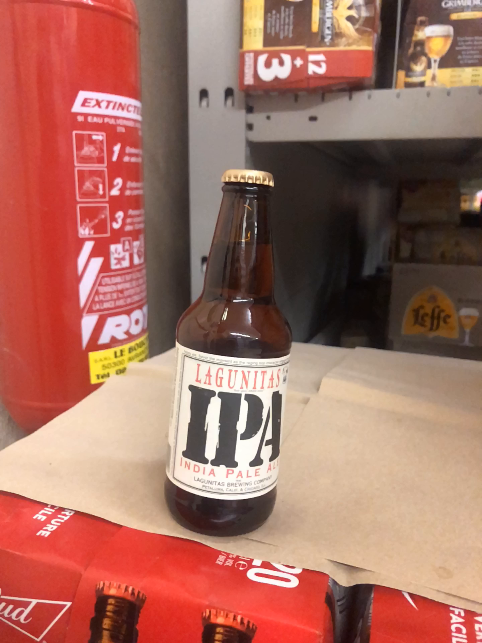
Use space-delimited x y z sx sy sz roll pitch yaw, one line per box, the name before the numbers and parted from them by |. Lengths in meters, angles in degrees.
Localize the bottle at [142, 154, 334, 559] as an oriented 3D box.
bottle | -0.011 0.017 0.300 0.080 0.199 0.080 4 12 -1
